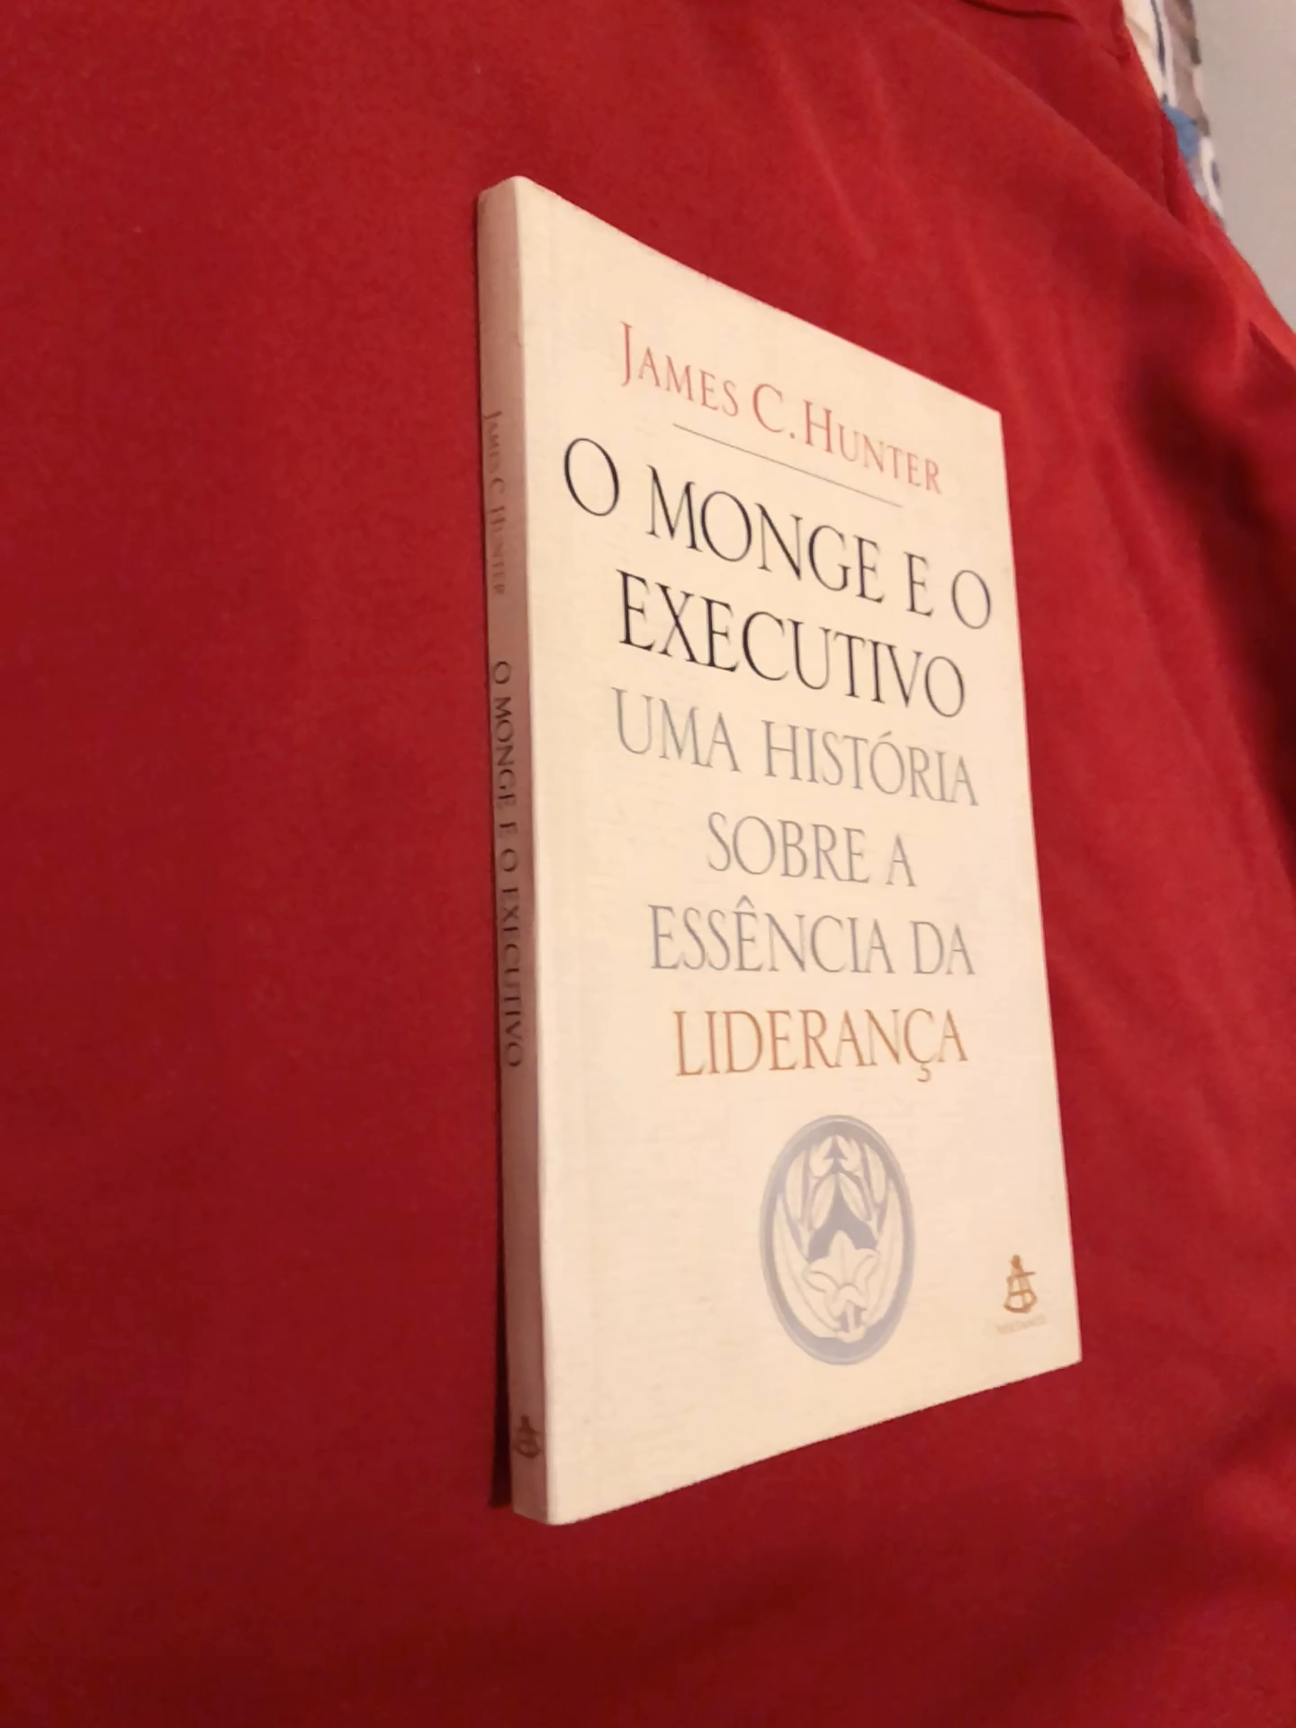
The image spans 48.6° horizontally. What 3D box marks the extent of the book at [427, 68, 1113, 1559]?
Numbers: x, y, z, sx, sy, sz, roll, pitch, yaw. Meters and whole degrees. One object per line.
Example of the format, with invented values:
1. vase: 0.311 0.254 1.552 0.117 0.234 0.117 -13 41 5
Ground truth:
1. book: 0.028 -0.009 0.267 0.141 0.030 0.220 6 77 -45
